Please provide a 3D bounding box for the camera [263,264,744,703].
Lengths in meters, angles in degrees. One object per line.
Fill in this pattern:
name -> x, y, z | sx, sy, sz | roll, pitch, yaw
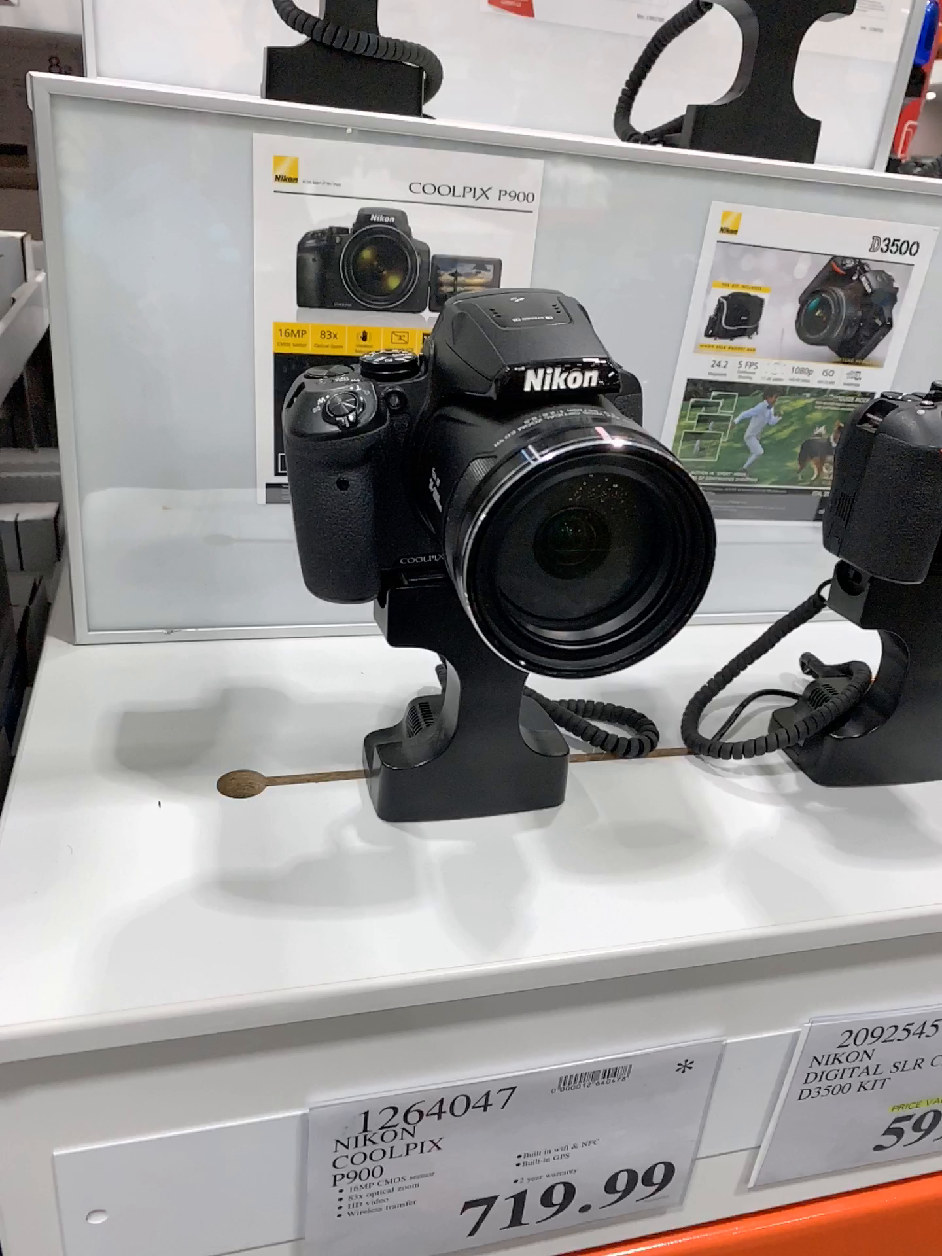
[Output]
camera -> -0.003, -0.065, 0.350 | 0.130, 0.109, 0.151 | -4, 27, -11
